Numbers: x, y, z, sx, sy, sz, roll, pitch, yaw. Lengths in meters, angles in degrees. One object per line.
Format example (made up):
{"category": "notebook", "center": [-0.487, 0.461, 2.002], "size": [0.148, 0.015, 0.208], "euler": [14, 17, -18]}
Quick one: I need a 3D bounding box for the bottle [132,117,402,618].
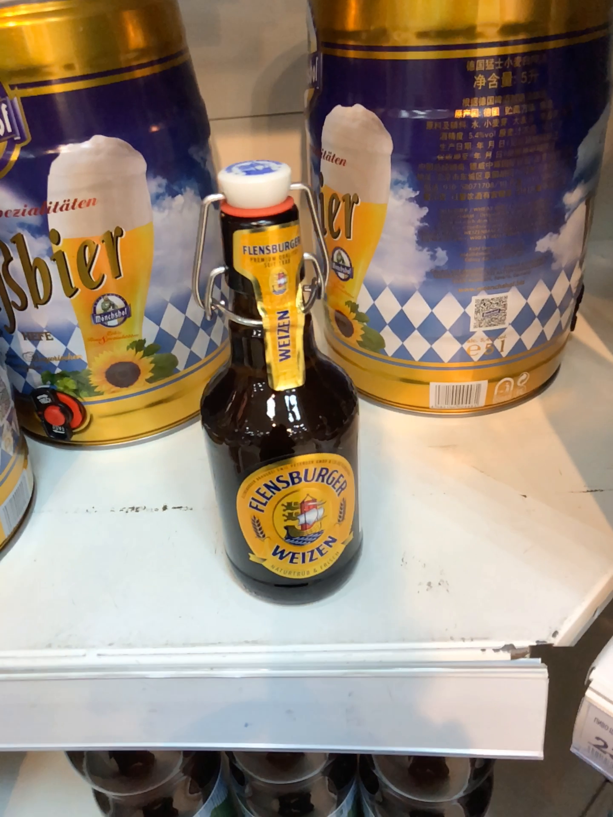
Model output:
{"category": "bottle", "center": [-0.009, -0.010, 0.290], "size": [0.080, 0.189, 0.080], "euler": [-4, 35, 3]}
